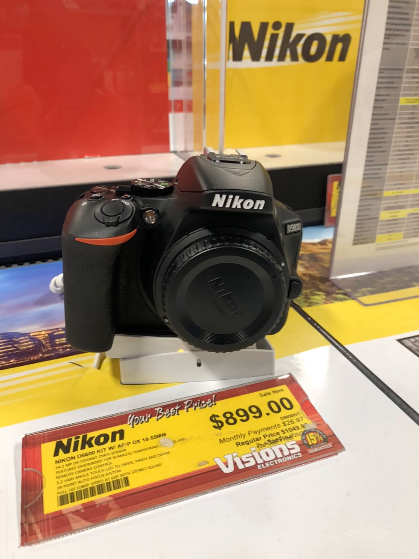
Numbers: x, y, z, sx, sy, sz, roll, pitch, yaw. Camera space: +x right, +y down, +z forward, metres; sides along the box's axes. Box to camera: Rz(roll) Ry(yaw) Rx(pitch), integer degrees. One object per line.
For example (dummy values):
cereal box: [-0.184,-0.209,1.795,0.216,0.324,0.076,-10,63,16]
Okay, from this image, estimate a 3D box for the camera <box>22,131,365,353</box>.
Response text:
camera: [-0.010,-0.023,0.244,0.140,0.090,0.080,2,22,-6]
